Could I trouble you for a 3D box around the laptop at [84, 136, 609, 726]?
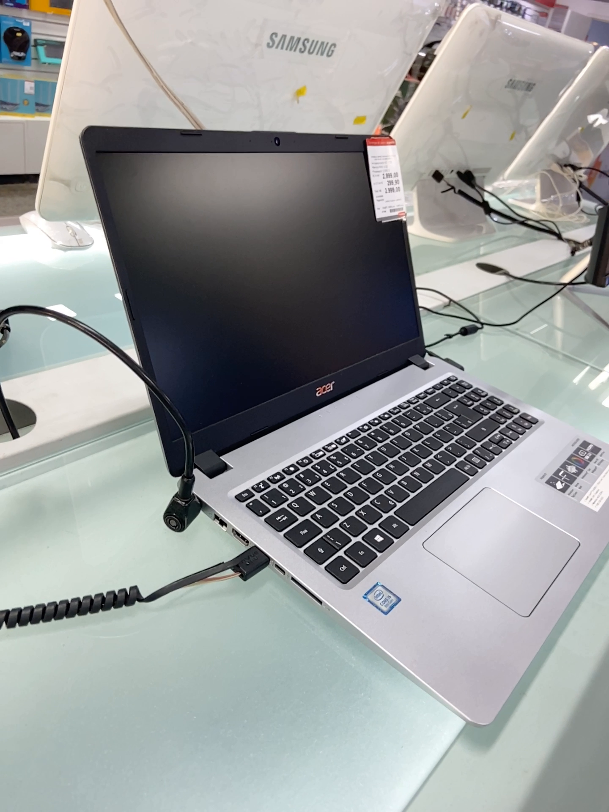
[{"bbox_3d":[0.093,-0.057,0.493,0.364,0.204,0.367,31,35,29],"label":"laptop"}]
